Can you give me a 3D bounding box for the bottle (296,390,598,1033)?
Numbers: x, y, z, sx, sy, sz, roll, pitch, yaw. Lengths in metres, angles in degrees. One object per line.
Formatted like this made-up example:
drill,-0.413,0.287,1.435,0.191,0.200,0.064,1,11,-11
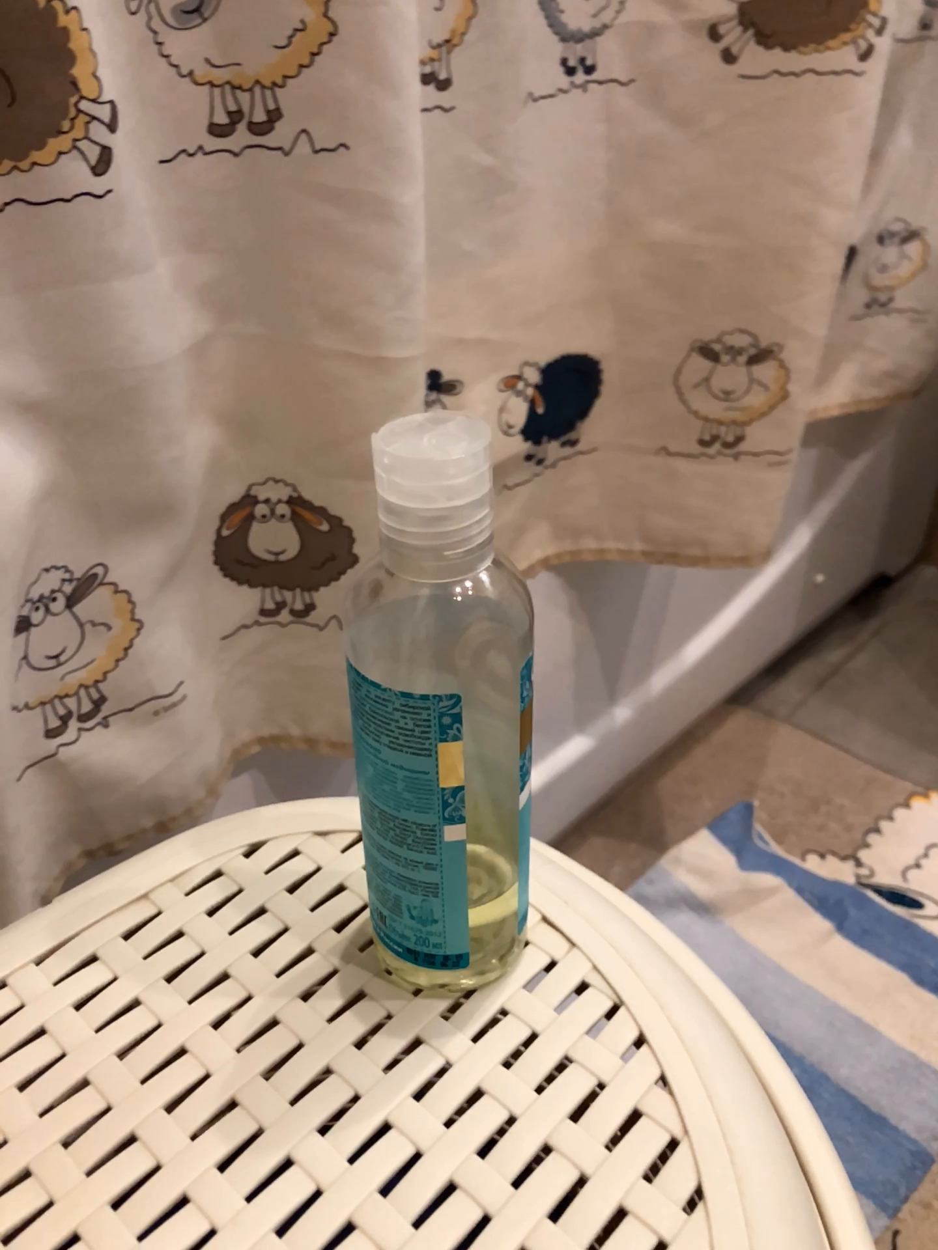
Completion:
bottle,-0.004,0.026,0.261,0.045,0.153,0.045,0,32,0
